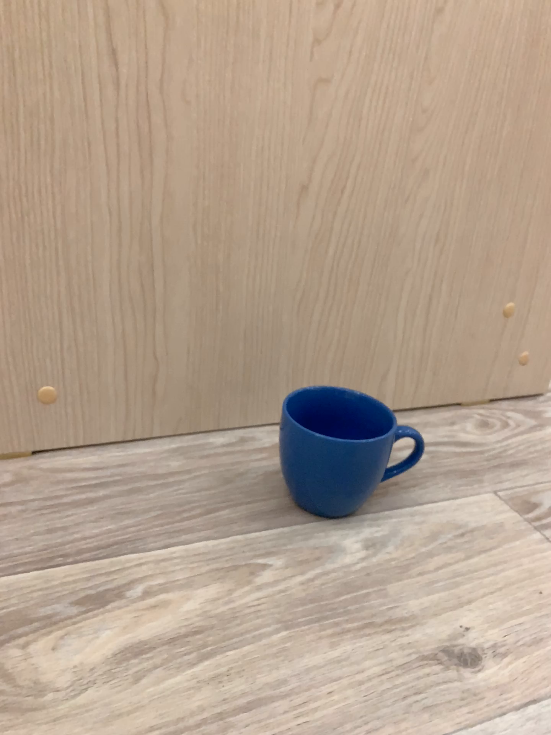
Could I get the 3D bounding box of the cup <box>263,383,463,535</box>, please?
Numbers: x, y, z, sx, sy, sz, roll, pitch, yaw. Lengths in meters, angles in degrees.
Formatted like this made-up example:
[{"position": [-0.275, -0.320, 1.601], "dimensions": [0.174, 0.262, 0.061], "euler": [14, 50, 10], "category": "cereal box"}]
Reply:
[{"position": [0.060, 0.064, 0.431], "dimensions": [0.117, 0.074, 0.078], "euler": [-2, 24, -17], "category": "cup"}]
